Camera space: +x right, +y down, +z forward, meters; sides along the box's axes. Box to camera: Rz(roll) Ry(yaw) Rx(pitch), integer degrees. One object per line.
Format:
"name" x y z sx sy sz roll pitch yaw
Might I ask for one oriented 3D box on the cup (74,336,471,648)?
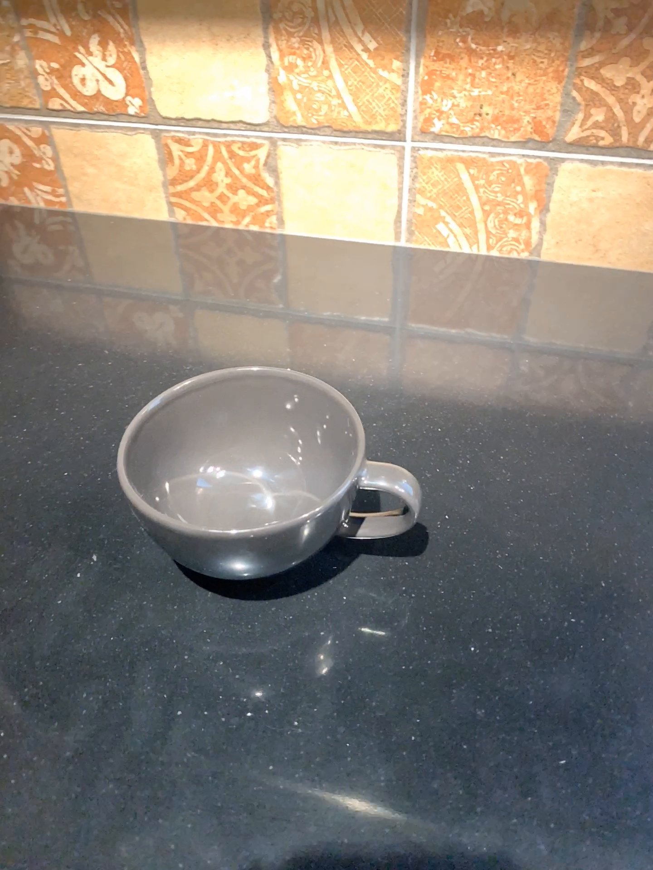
"cup" -0.013 0.018 0.298 0.140 0.060 0.110 6 43 10
